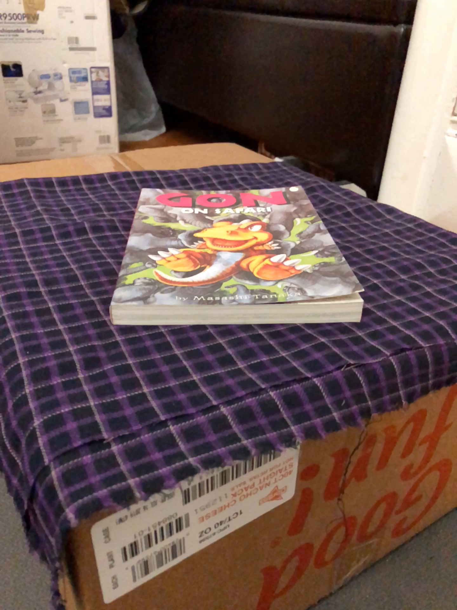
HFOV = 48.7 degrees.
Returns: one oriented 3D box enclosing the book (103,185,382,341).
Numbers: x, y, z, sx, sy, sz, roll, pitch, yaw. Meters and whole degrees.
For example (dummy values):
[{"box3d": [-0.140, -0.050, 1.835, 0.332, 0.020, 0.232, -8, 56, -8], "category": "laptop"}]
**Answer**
[{"box3d": [0.003, -0.043, 0.365, 0.150, 0.020, 0.211, 0, 31, -4], "category": "book"}]
